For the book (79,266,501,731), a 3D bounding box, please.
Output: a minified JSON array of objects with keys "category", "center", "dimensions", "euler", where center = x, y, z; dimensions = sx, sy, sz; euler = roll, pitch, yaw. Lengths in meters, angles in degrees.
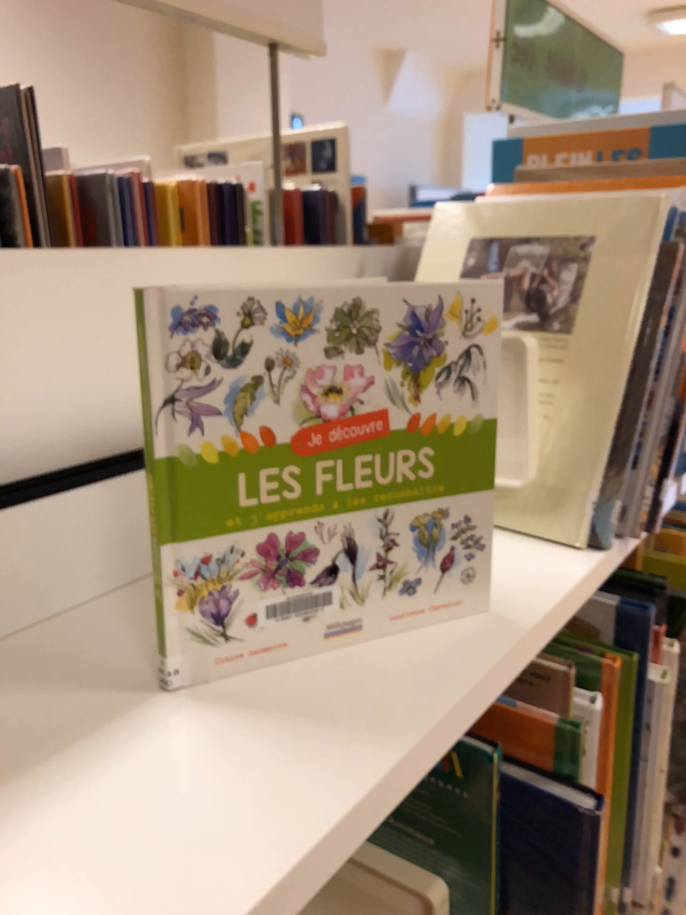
[{"category":"book","center":[-0.022,0.002,0.446],"dimensions":[0.209,0.215,0.104],"euler":[-10,16,-34]}]
